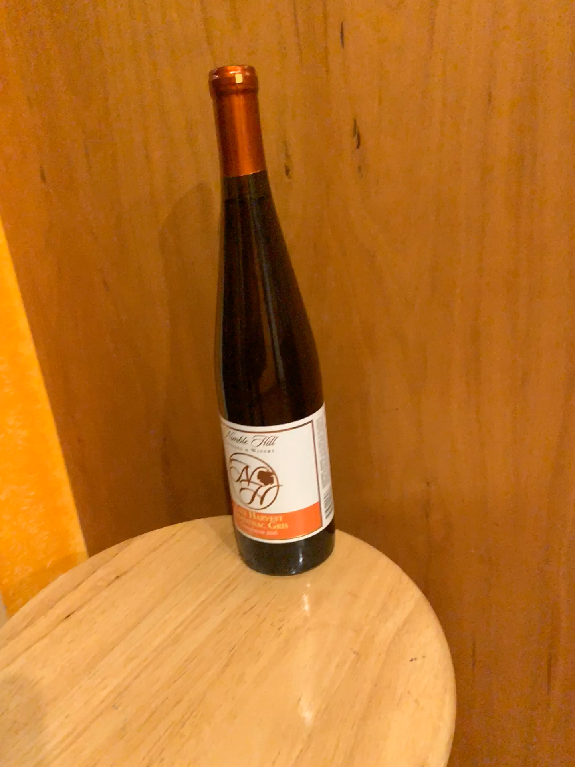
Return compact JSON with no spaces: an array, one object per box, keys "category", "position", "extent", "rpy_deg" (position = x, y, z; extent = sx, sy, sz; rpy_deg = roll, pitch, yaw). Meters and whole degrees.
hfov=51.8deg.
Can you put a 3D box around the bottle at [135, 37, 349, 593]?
[{"category":"bottle","position":[-0.018,-0.027,0.384],"extent":[0.080,0.329,0.060],"rpy_deg":[6,23,29]}]
